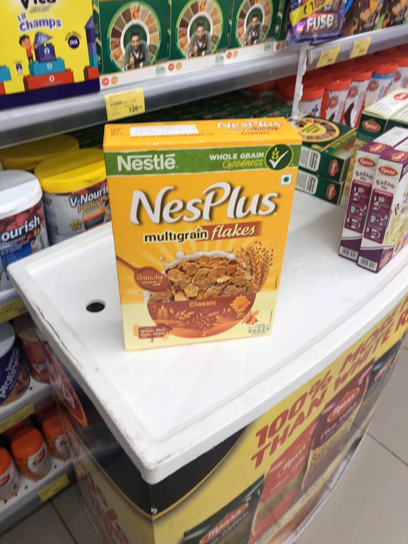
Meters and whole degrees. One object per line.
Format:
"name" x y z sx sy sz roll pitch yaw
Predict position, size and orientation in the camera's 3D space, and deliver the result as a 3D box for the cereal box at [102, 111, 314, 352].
"cereal box" -0.002 -0.038 0.529 0.200 0.269 0.070 -6 38 -10
